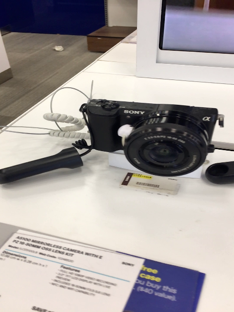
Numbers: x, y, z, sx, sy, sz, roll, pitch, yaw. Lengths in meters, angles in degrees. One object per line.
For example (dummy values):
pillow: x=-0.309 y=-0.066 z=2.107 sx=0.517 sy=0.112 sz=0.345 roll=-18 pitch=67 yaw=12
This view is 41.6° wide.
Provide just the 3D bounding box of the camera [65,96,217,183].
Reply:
camera: x=0.025 y=-0.017 z=0.299 sx=0.127 sy=0.065 sz=0.048 roll=6 pitch=42 yaw=9
